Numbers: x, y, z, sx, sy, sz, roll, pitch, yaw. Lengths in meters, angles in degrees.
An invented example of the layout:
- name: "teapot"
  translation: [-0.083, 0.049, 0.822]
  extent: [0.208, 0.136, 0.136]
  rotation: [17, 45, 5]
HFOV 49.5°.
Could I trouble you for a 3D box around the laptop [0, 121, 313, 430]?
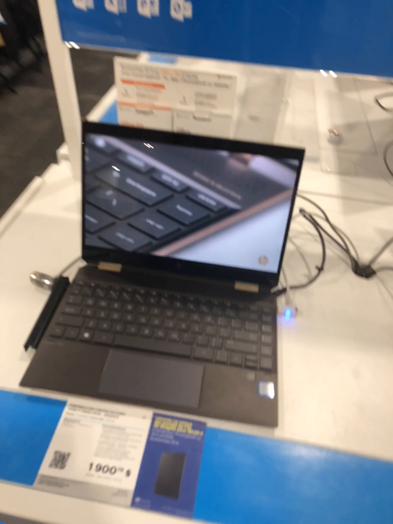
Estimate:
- name: "laptop"
  translation: [-0.036, -0.002, 0.531]
  extent: [0.297, 0.197, 0.286]
  rotation: [8, 42, 4]
